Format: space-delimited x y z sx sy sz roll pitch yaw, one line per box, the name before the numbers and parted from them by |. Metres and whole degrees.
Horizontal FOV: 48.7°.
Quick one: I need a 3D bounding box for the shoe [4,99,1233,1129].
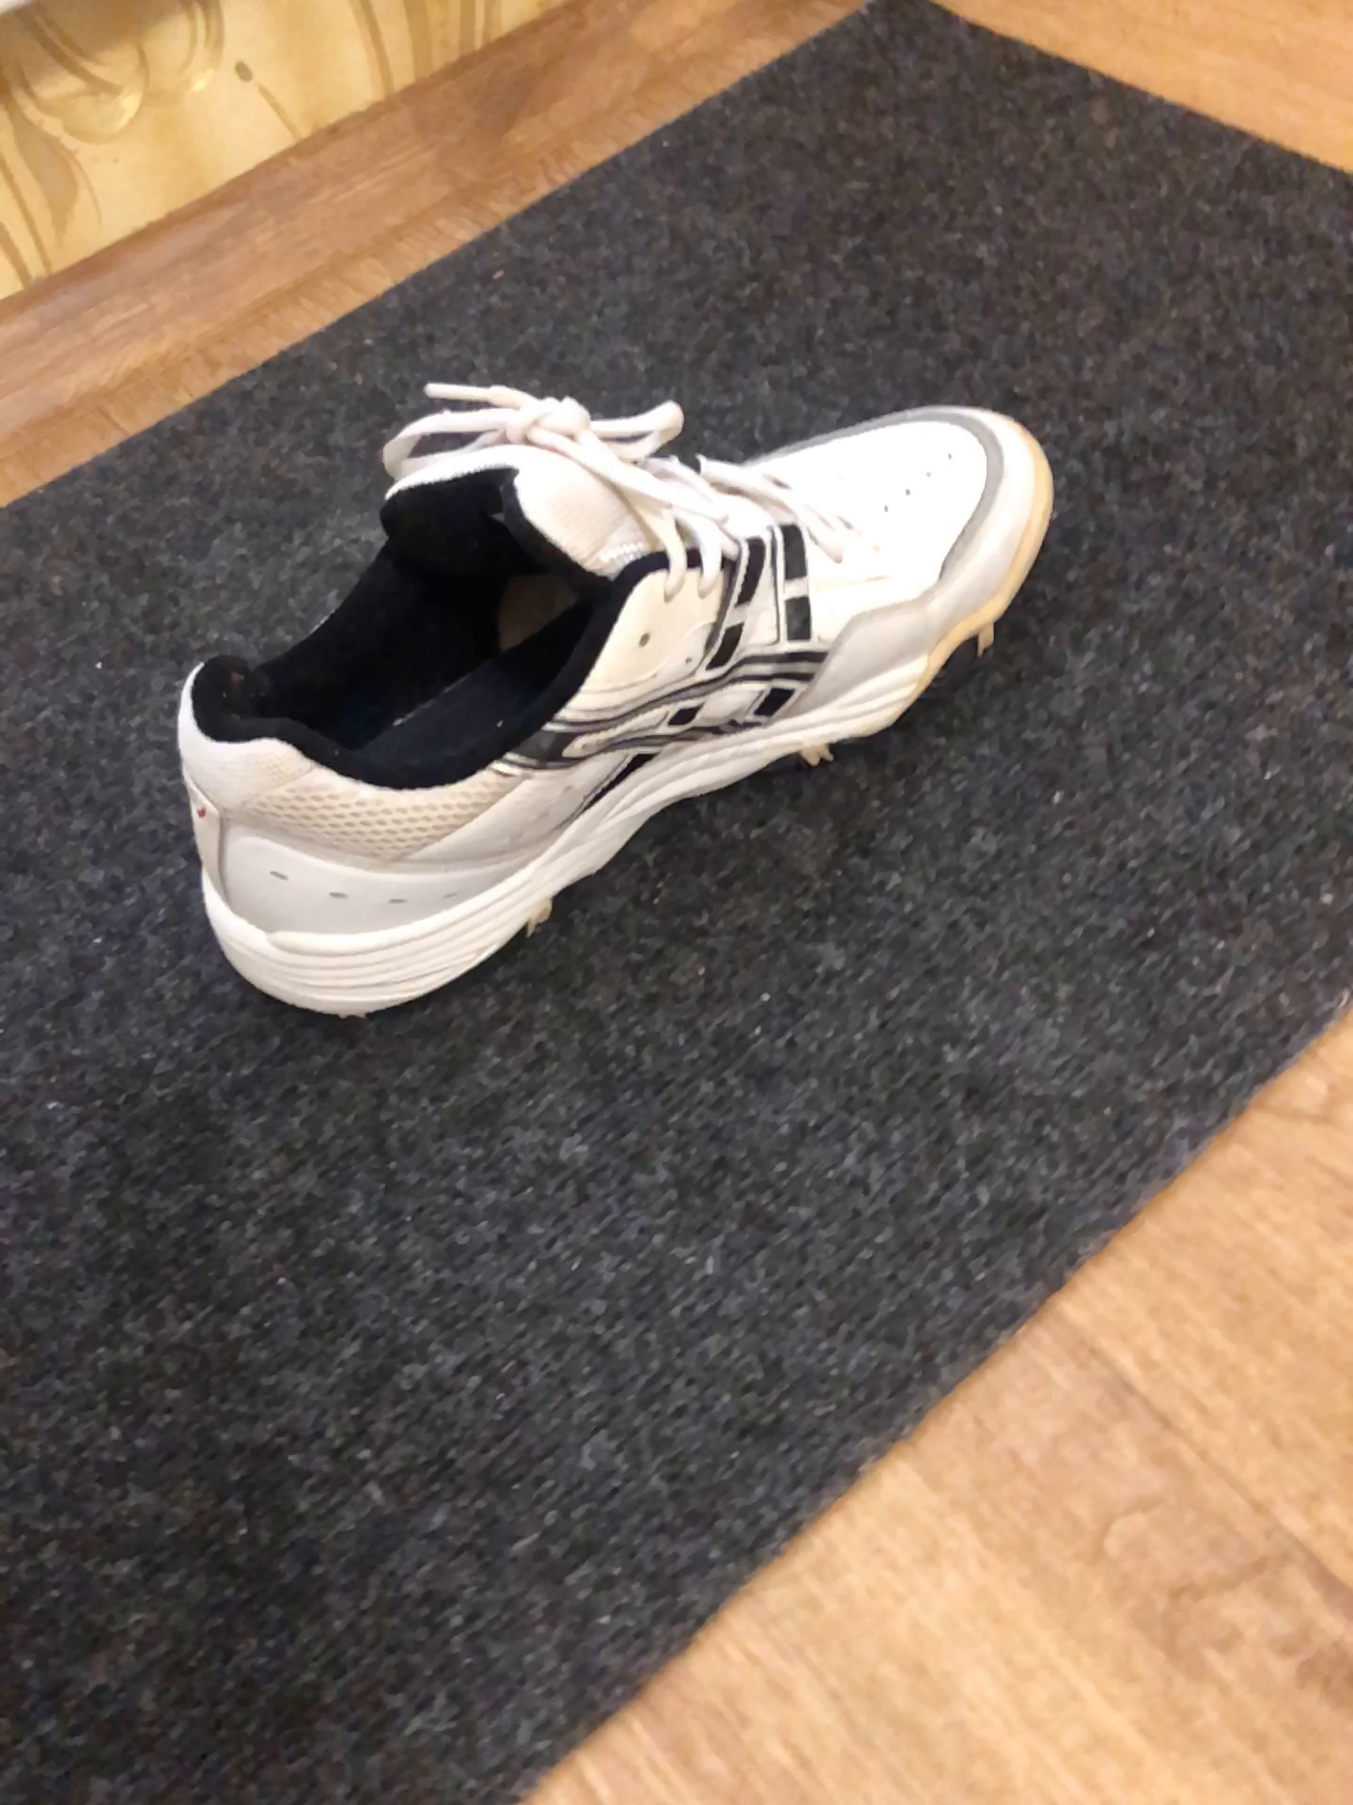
shoe | -0.002 -0.083 0.398 0.289 0.110 0.100 -34 57 -15
